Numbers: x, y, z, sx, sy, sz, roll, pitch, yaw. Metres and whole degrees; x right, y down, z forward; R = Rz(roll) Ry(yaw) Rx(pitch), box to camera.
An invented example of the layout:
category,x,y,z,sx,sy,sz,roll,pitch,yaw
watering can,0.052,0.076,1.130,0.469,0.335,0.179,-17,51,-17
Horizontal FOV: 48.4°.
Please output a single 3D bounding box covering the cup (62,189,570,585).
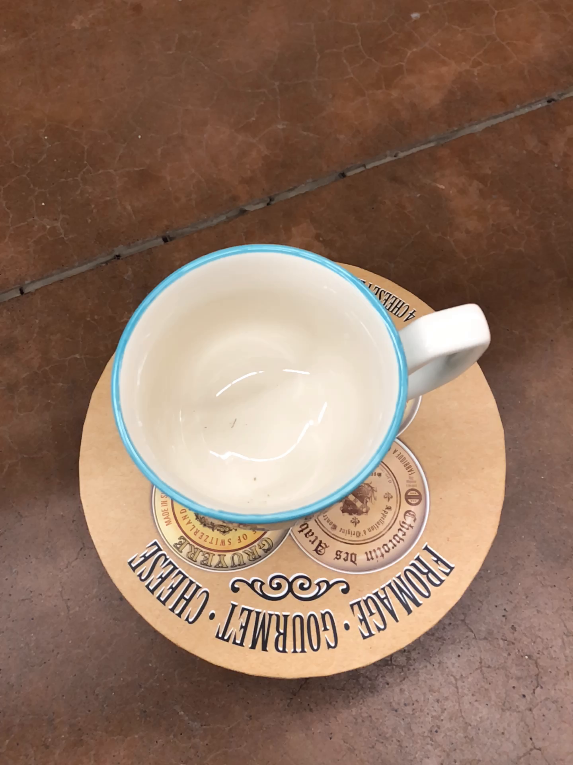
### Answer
category,x,y,z,sx,sy,sz,roll,pitch,yaw
cup,0.007,0.007,0.242,0.140,0.080,0.090,-18,72,-6
